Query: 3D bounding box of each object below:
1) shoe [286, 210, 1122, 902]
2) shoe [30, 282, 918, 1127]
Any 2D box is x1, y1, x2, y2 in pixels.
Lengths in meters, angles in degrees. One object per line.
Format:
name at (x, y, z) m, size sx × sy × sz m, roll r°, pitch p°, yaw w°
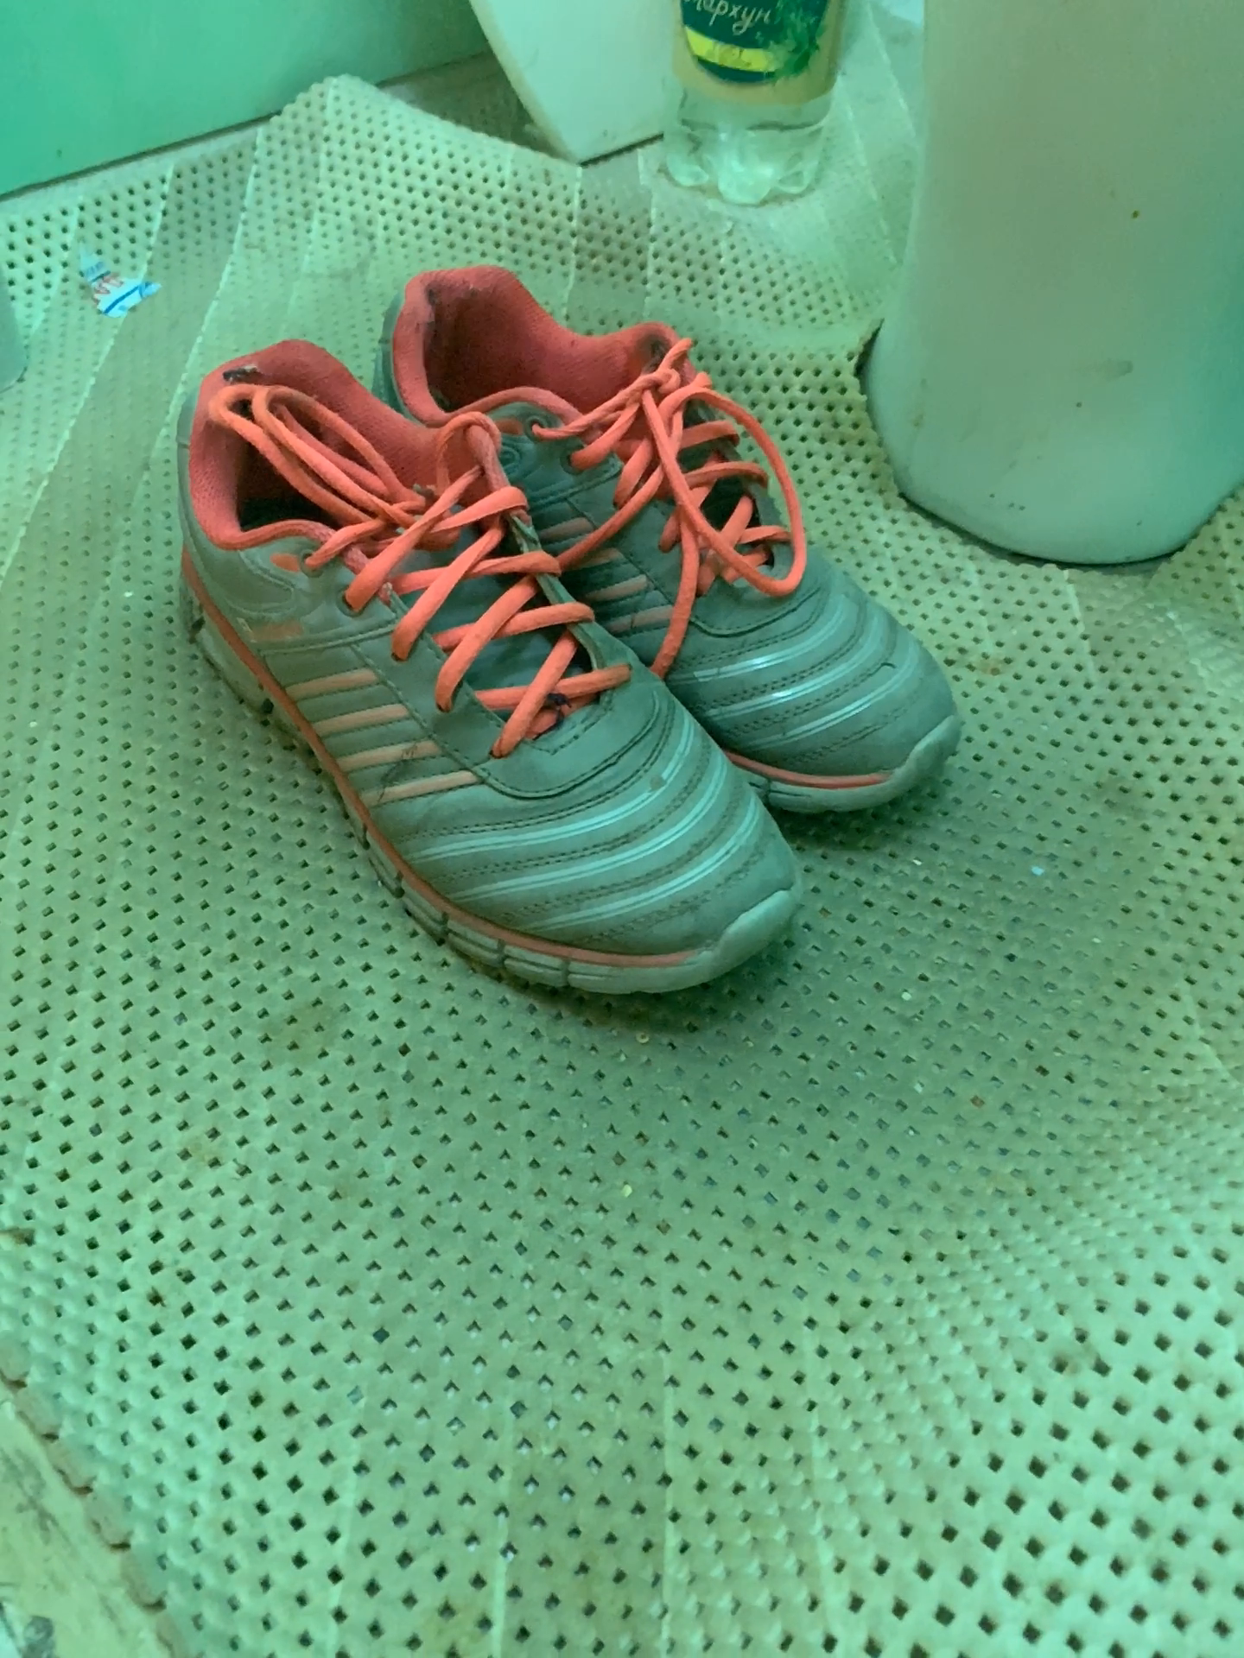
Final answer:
shoe at (0.016, -0.110, 0.460) m, size 0.271 × 0.089 × 0.110 m, roll 37°, pitch 57°, yaw 23°
shoe at (-0.056, -0.055, 0.401) m, size 0.110 × 0.089 × 0.269 m, roll -33°, pitch 61°, yaw -27°
